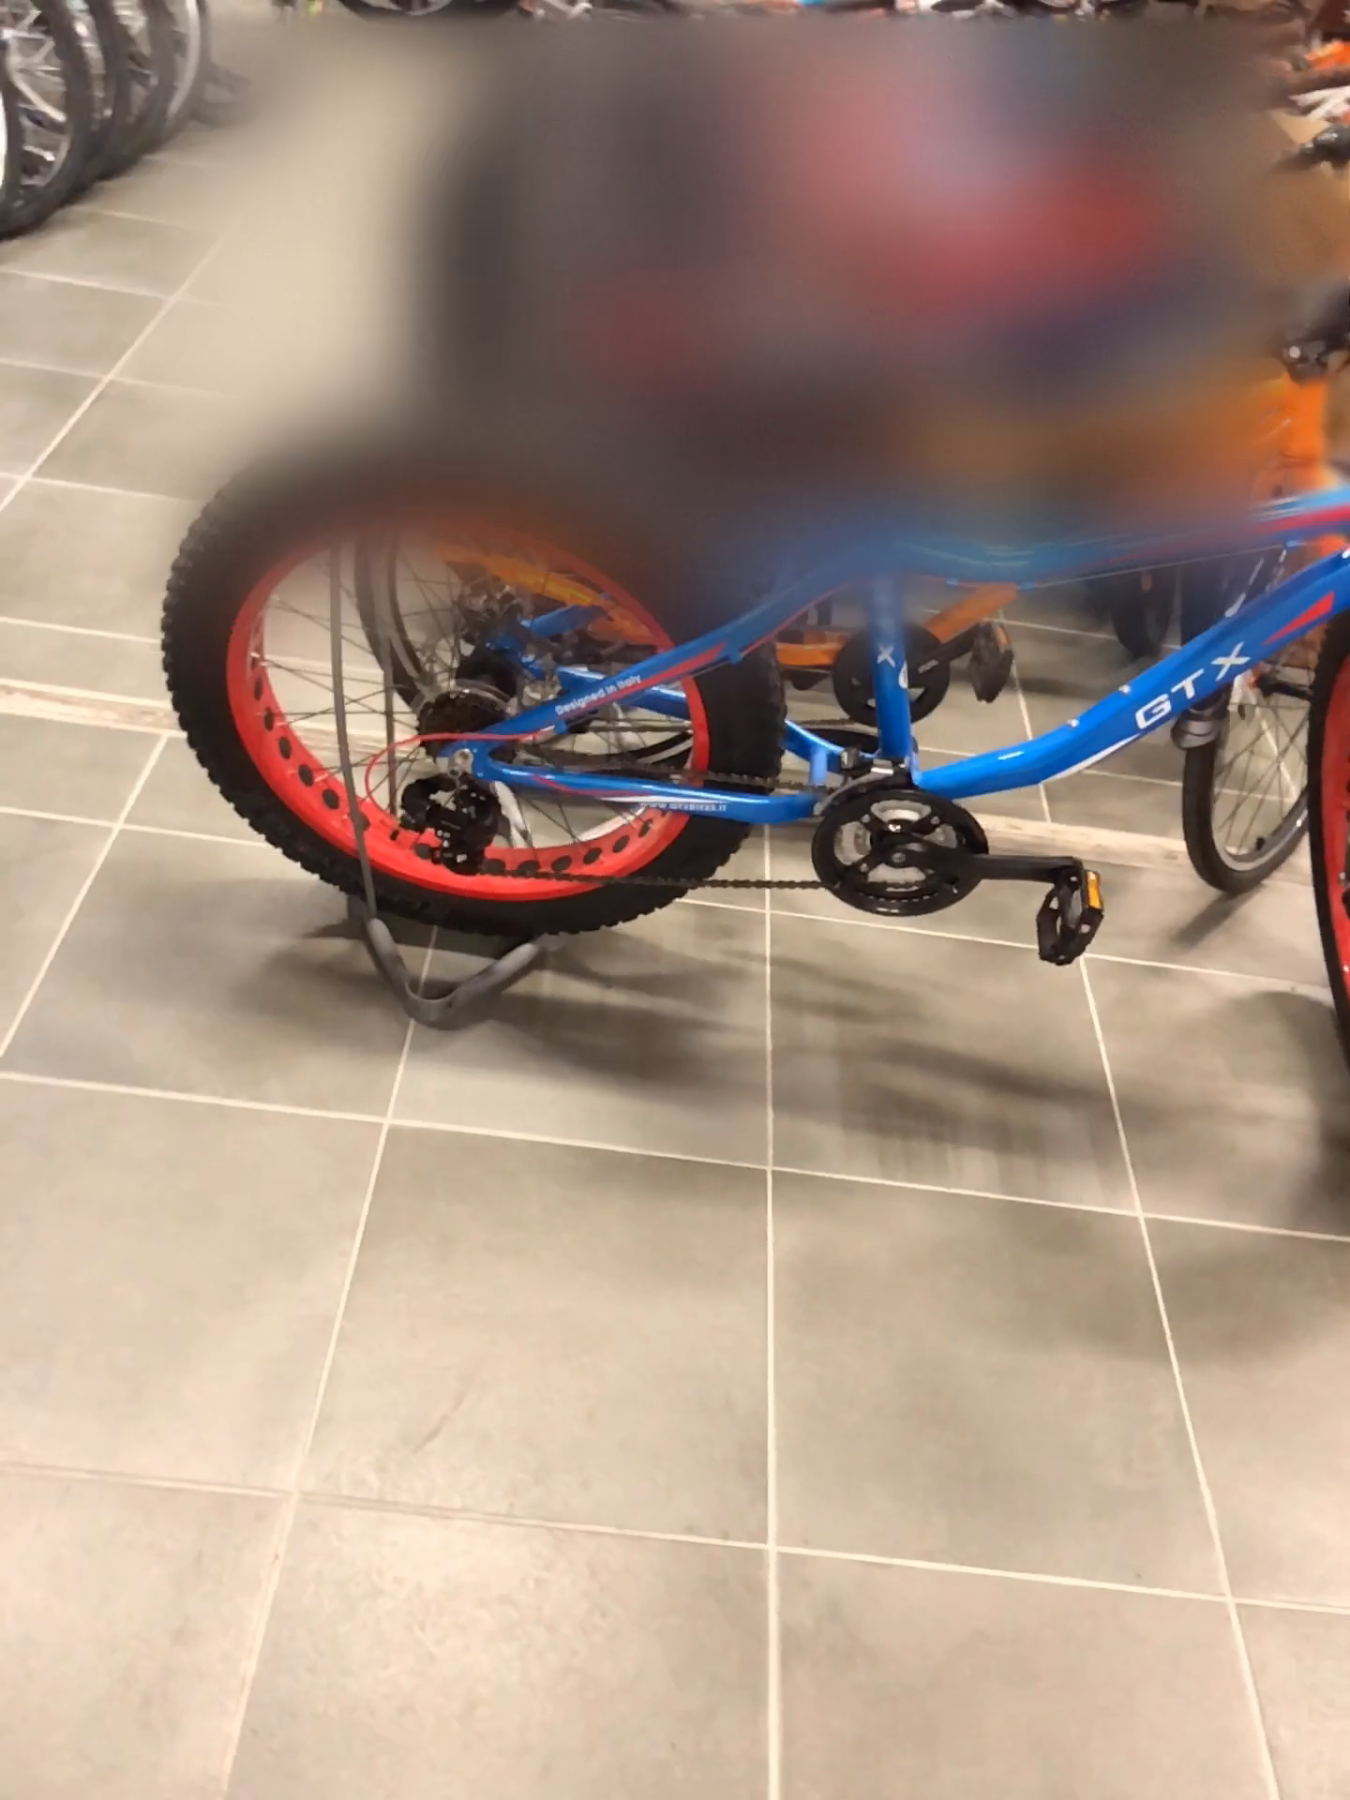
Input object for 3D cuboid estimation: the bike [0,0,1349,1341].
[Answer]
[{"bbox_3d":[0.210,-0.216,1.441,1.467,1.023,0.617,8,40,-4],"label":"bike"}]
